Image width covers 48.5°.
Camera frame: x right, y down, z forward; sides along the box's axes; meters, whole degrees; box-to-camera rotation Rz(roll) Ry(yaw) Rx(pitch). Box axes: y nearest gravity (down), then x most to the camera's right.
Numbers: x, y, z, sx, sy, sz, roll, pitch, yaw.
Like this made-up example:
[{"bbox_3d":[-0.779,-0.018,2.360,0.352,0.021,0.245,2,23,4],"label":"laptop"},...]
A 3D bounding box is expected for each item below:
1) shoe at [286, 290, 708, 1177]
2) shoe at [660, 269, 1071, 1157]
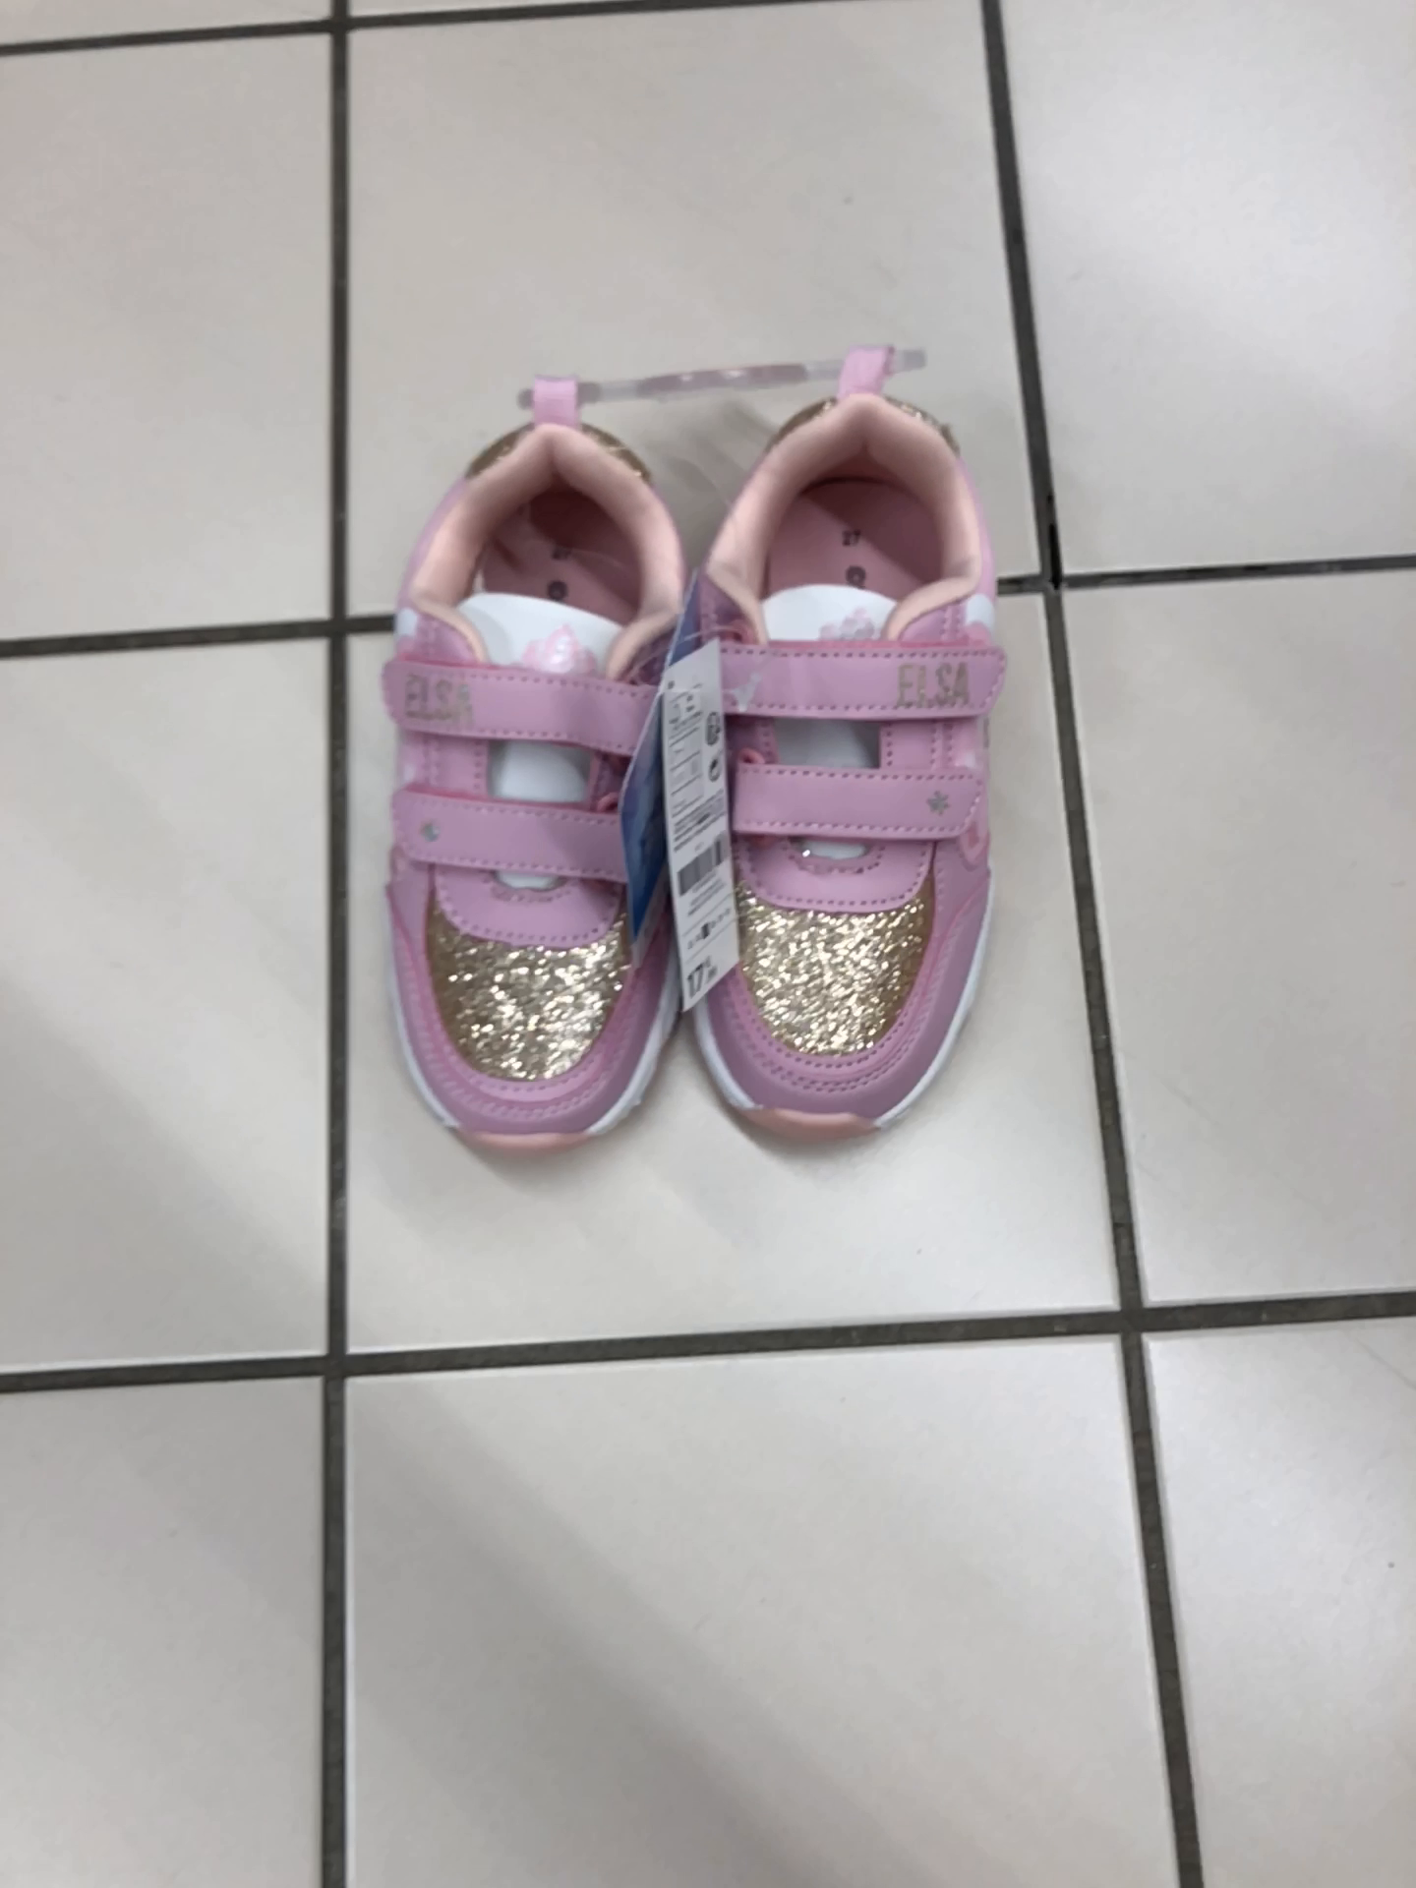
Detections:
[{"bbox_3d":[-0.043,-0.045,0.382,0.083,0.087,0.195,0,77,1],"label":"shoe"},{"bbox_3d":[0.033,-0.050,0.383,0.083,0.087,0.195,0,77,1],"label":"shoe"}]
